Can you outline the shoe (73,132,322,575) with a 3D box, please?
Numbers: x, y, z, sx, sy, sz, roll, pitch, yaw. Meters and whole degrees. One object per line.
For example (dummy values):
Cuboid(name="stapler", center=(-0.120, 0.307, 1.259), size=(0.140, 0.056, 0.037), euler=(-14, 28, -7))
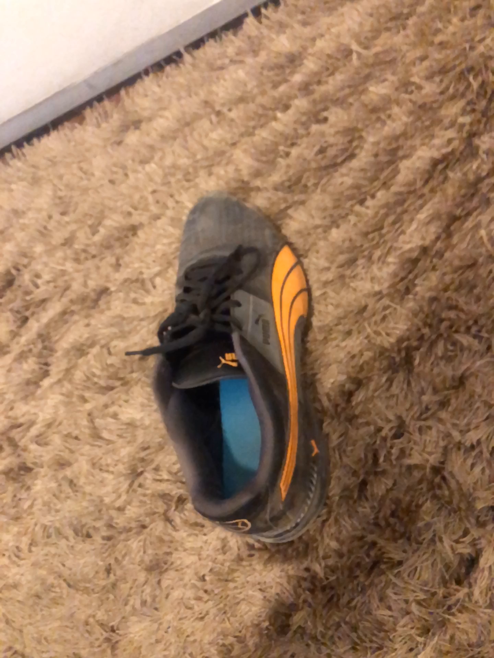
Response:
Cuboid(name="shoe", center=(-0.044, 0.019, 0.441), size=(0.122, 0.110, 0.300), euler=(-16, 71, 19))
